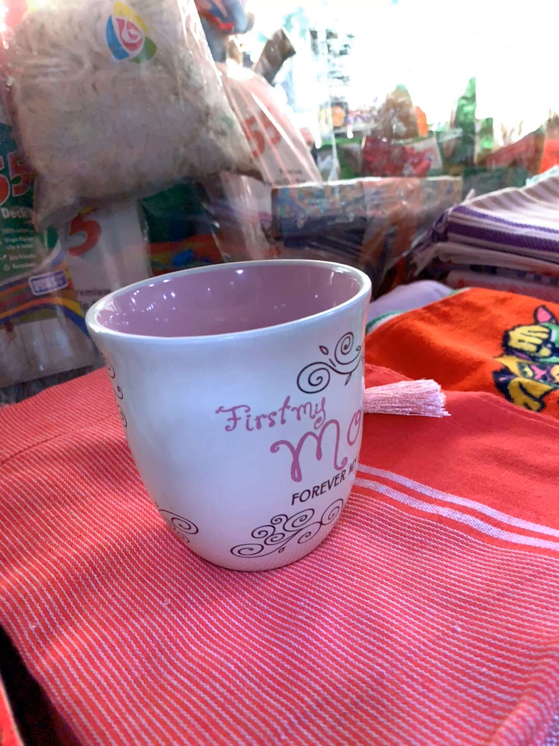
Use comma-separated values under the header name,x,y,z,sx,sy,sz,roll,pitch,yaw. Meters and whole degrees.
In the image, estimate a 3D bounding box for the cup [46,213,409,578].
name,x,y,z,sx,sy,sz,roll,pitch,yaw
cup,-0.002,-0.003,0.223,0.093,0.080,0.131,-2,25,12
